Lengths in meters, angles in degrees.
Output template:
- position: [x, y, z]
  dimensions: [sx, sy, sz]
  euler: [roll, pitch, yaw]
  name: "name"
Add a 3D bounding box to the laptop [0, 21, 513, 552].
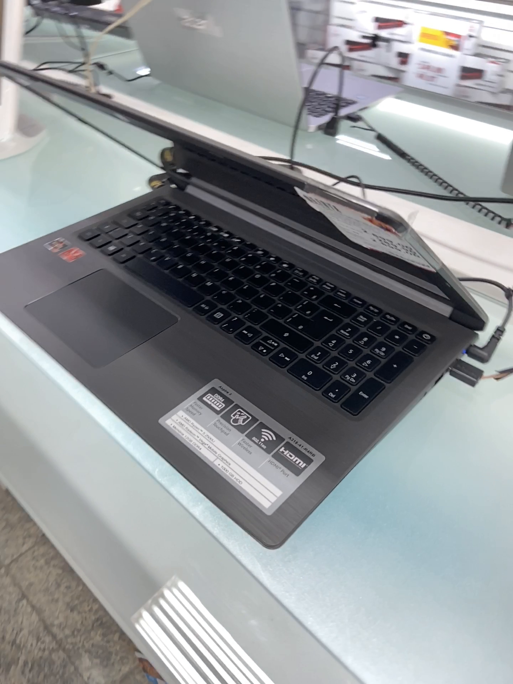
- position: [-0.040, -0.087, 0.360]
  dimensions: [0.343, 0.155, 0.221]
  euler: [32, 50, 31]
  name: "laptop"
